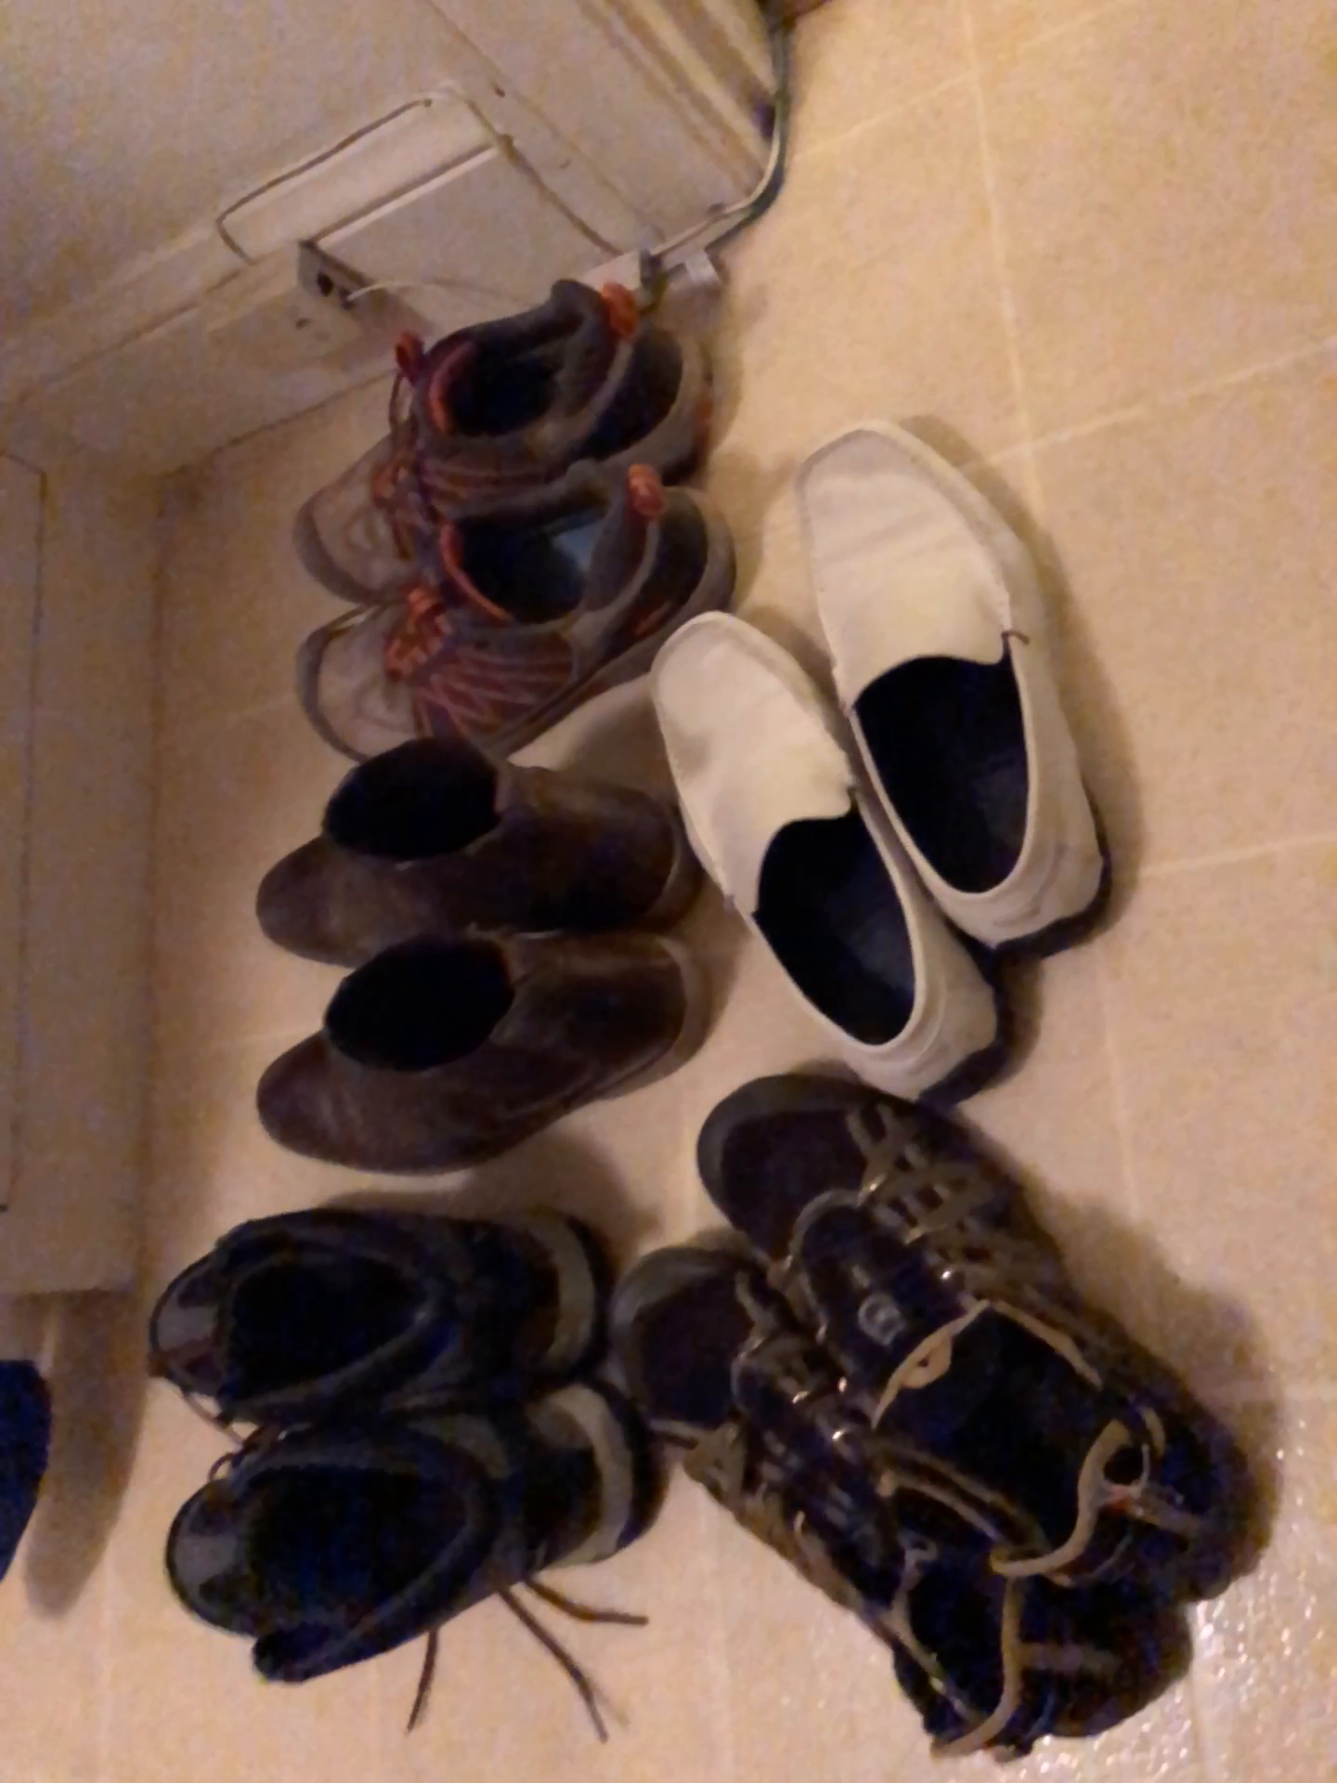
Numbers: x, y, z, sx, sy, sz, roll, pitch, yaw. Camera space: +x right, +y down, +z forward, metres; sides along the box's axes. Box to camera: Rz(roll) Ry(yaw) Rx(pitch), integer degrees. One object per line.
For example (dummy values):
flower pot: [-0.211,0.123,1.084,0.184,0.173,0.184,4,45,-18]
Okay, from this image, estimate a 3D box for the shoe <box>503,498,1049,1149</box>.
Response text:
shoe: [0.046,-0.034,0.739,0.110,0.113,0.304,-38,61,21]

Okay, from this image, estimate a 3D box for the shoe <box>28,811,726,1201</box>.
shoe: [-0.163,0.081,0.811,0.324,0.192,0.110,-20,69,28]

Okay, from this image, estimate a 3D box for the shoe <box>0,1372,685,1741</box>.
shoe: [-0.186,0.338,0.757,0.324,0.192,0.110,-21,69,28]

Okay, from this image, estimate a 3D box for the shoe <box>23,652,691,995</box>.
shoe: [-0.176,-0.021,0.840,0.324,0.192,0.110,-8,75,32]

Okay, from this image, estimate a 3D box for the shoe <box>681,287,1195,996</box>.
shoe: [0.123,-0.117,0.710,0.110,0.113,0.304,-29,65,25]

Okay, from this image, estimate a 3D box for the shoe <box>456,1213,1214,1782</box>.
shoe: [0.064,0.267,0.654,0.294,0.123,0.110,28,95,34]

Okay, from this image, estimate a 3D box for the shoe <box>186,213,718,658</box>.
shoe: [-0.139,-0.259,0.893,0.314,0.113,0.110,-16,71,30]

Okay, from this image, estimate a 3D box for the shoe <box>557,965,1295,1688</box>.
shoe: [0.104,0.172,0.653,0.294,0.123,0.110,42,103,33]

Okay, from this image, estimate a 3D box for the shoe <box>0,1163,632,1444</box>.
shoe: [-0.211,0.227,0.807,0.324,0.192,0.110,-14,72,30]

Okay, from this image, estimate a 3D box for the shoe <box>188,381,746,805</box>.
shoe: [-0.125,-0.157,0.854,0.314,0.113,0.110,-16,71,30]
